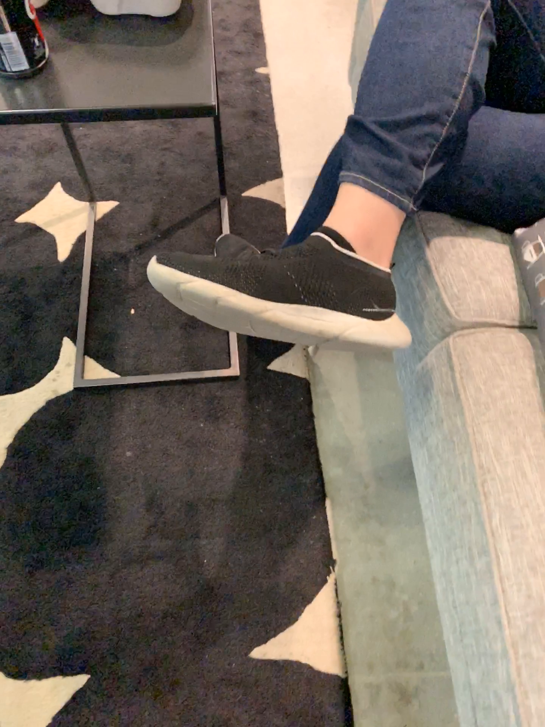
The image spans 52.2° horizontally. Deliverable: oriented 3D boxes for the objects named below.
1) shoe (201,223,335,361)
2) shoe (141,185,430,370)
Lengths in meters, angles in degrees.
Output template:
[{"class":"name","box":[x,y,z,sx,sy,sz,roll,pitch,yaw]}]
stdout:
[{"class":"shoe","box":[-0.014,-0.159,1.194,0.116,0.074,0.304,-34,67,-18]},{"class":"shoe","box":[0.008,-0.079,0.585,0.276,0.112,0.132,4,75,-13]}]
